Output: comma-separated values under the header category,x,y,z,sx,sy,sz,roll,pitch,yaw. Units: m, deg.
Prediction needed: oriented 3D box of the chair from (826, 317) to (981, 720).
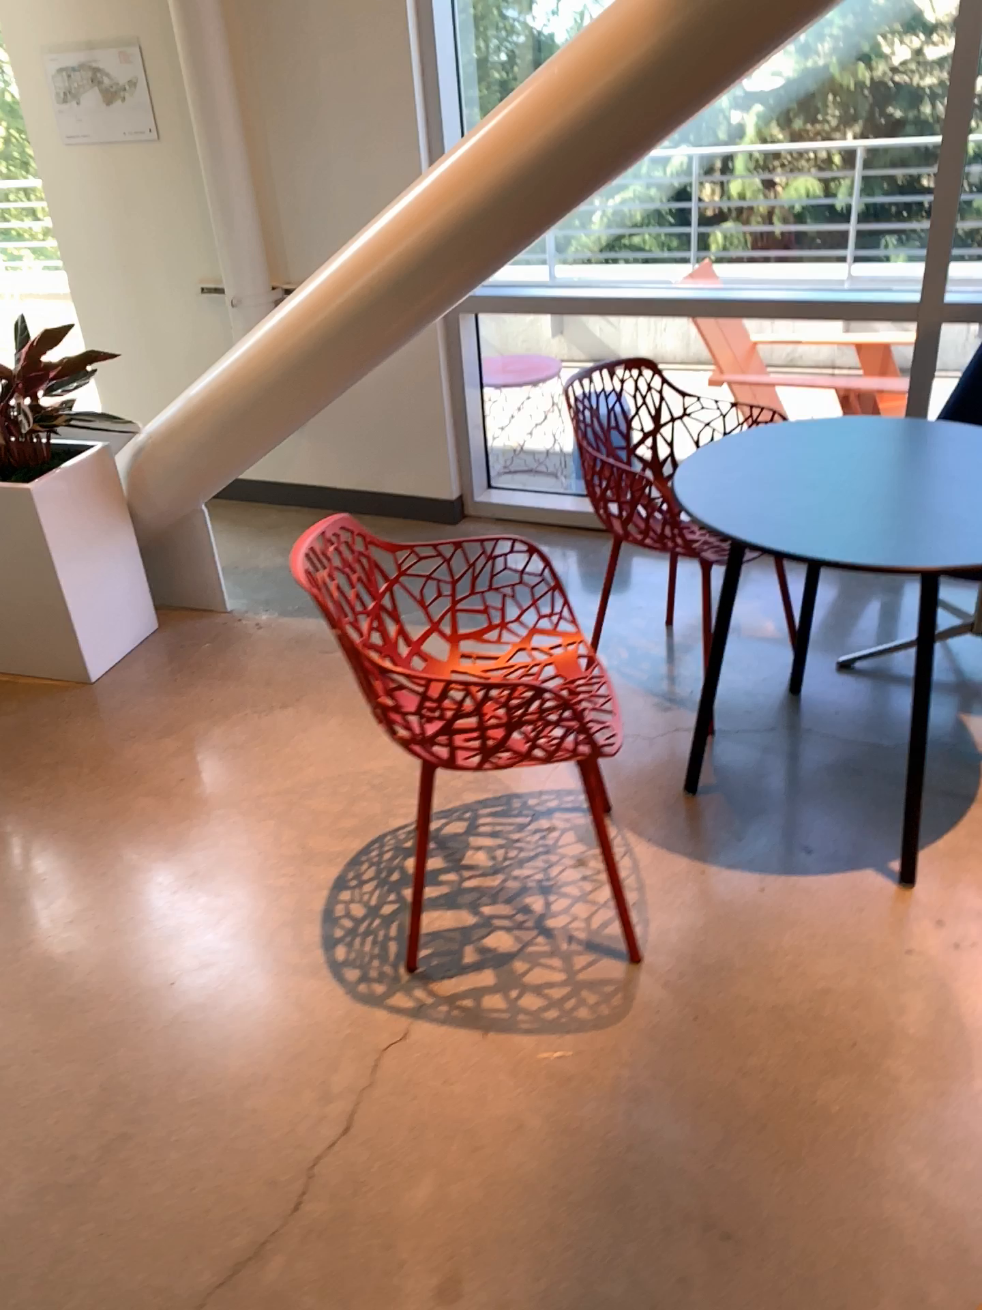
category,x,y,z,sx,sy,sz,roll,pitch,yaw
chair,1.271,-0.371,2.519,0.510,0.766,0.563,-23,34,-29

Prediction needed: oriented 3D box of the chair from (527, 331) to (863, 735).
category,x,y,z,sx,sy,sz,roll,pitch,yaw
chair,0.496,-0.335,2.538,0.560,0.766,0.533,-24,34,-30

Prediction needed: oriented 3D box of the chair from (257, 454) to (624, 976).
category,x,y,z,sx,sy,sz,roll,pitch,yaw
chair,-0.048,0.101,1.893,0.530,0.766,0.563,-3,29,3
